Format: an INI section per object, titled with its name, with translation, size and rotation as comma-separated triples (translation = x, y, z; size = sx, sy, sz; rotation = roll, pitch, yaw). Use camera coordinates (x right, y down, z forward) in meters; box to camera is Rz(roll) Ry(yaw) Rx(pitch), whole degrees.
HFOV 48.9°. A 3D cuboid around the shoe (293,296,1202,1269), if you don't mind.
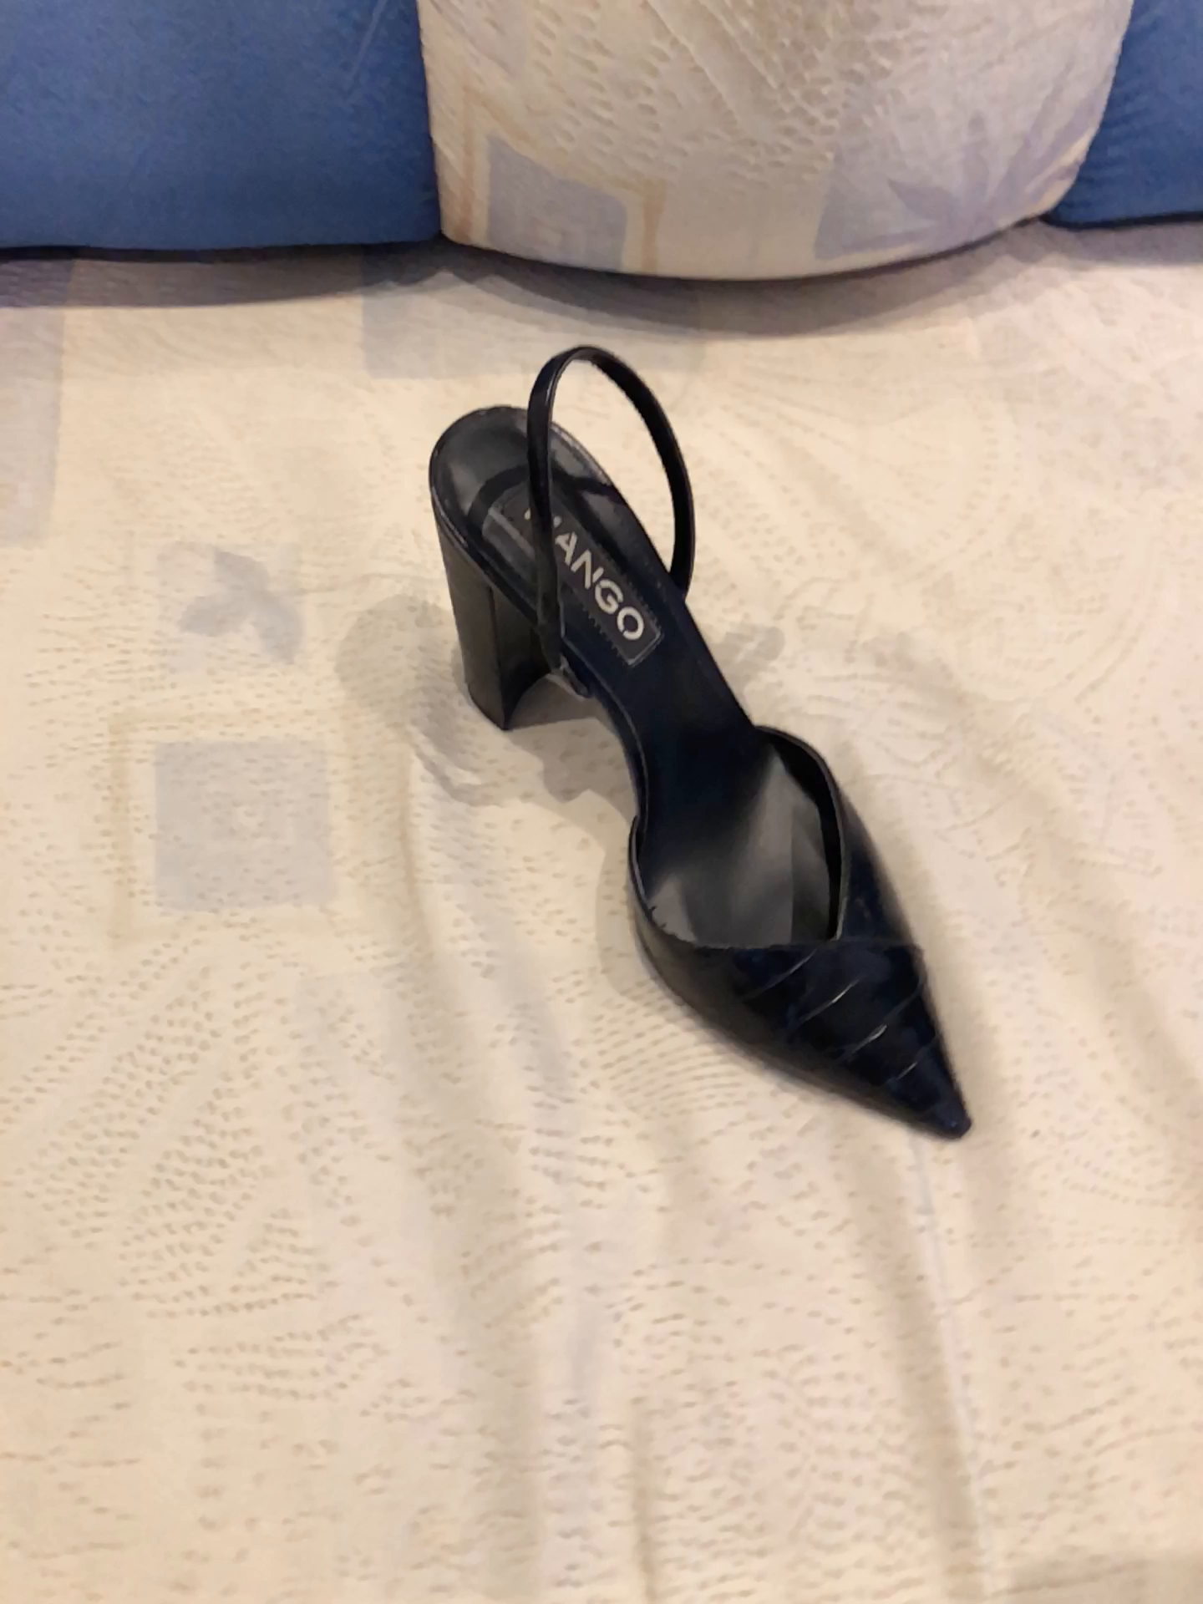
[shoe]
translation = 0.031, -0.006, 0.383
size = 0.100, 0.129, 0.240
rotation = -35, 68, -19
